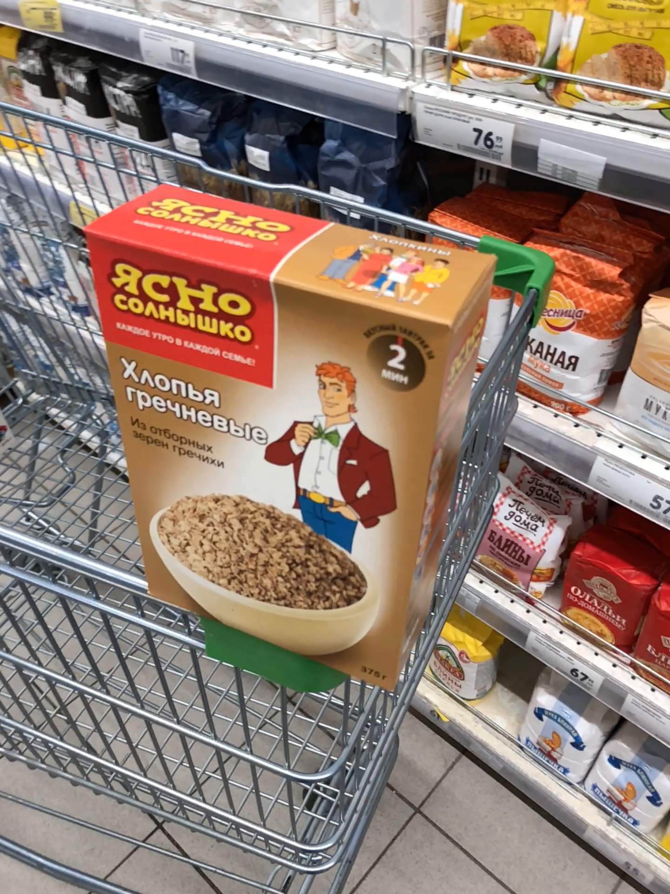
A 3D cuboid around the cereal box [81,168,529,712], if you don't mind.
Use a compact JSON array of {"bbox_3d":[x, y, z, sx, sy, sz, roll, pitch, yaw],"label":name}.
[{"bbox_3d":[-0.012,0.004,0.296,0.130,0.189,0.060,18,42,19],"label":"cereal box"}]
